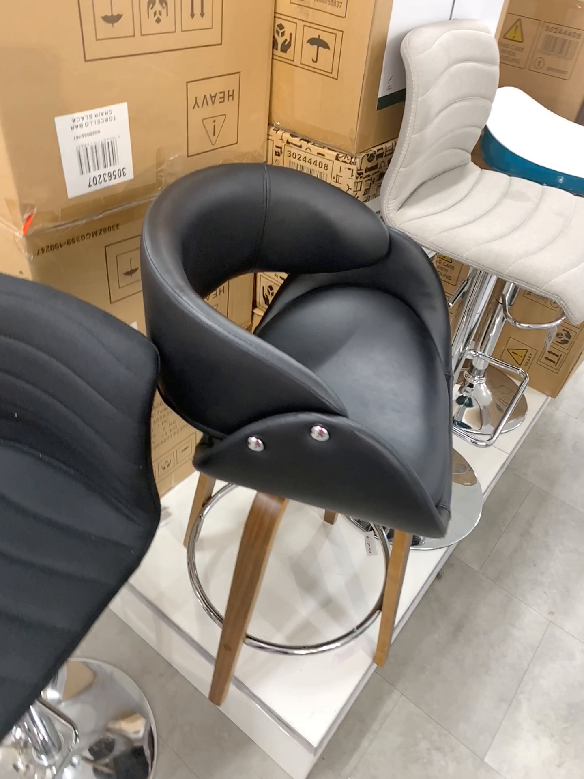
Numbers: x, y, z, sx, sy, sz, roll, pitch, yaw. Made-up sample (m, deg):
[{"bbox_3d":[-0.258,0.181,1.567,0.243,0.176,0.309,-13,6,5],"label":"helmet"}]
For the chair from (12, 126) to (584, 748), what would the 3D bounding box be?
[{"bbox_3d":[0.008,0.135,1.055,0.546,0.897,0.570,10,44,3],"label":"chair"}]

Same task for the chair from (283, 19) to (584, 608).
[{"bbox_3d":[0.340,-0.113,1.169,0.438,0.967,0.437,29,43,23],"label":"chair"}]

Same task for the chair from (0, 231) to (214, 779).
[{"bbox_3d":[-0.471,0.378,0.922,0.485,1.016,0.470,22,43,21],"label":"chair"}]
